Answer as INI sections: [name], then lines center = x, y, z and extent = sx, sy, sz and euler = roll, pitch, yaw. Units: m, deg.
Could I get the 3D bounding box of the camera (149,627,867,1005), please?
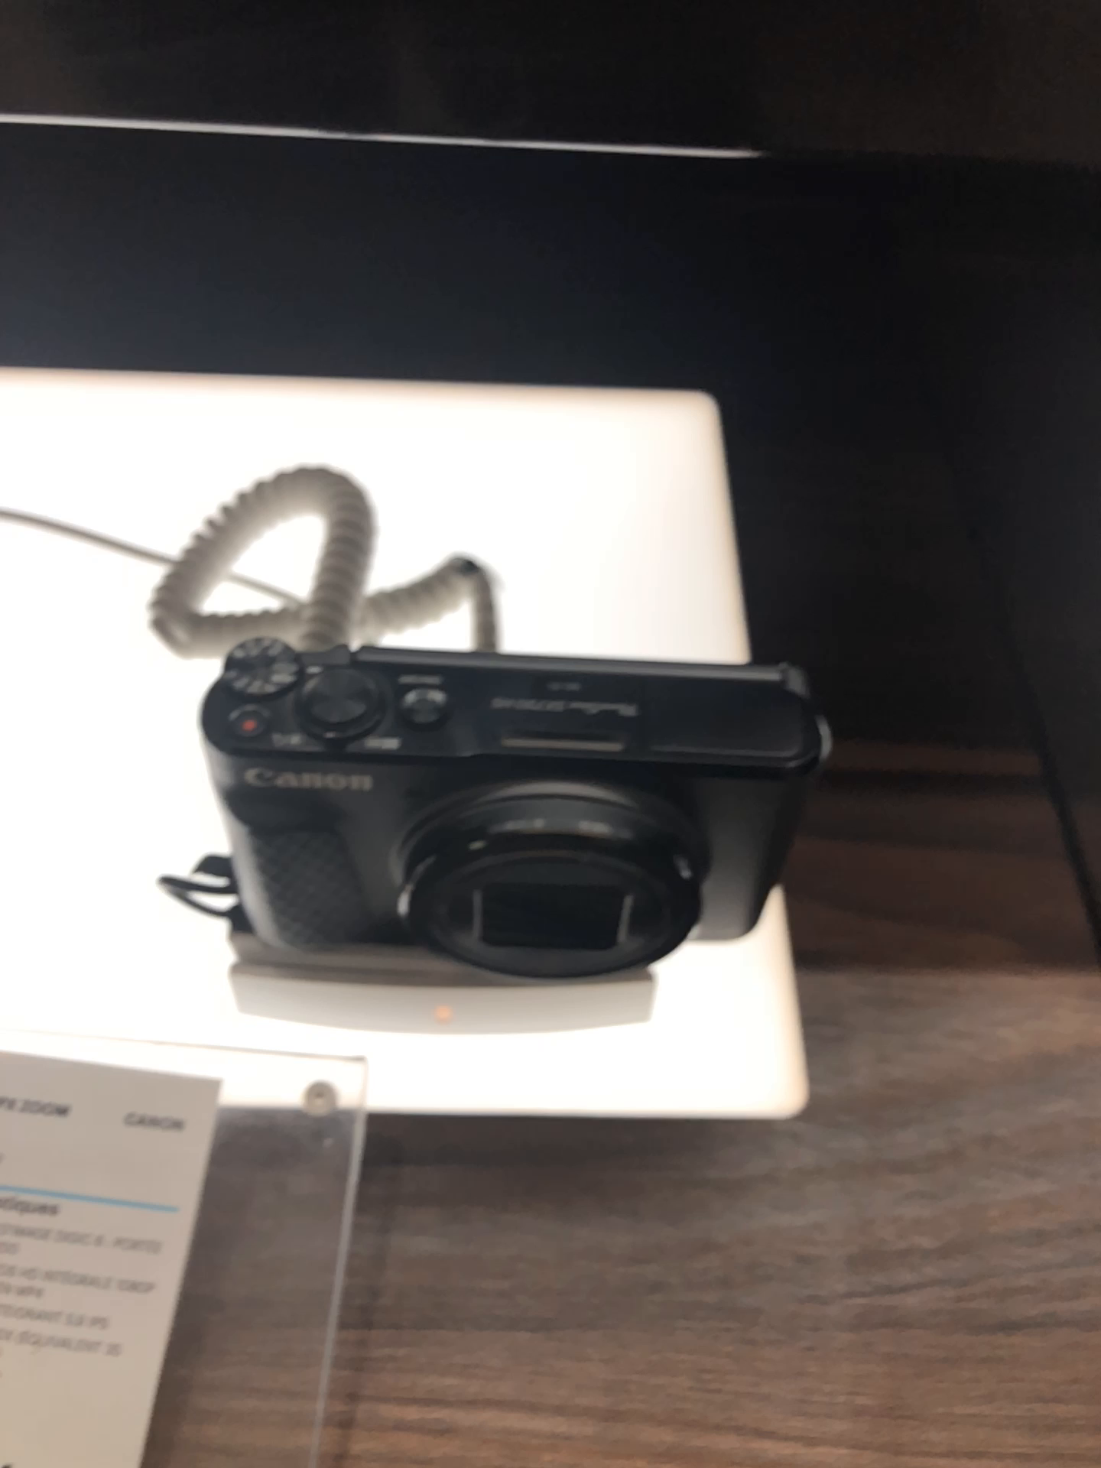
[camera]
center = -0.008, 0.018, 0.236
extent = 0.114, 0.070, 0.035
euler = 2, 51, -2
